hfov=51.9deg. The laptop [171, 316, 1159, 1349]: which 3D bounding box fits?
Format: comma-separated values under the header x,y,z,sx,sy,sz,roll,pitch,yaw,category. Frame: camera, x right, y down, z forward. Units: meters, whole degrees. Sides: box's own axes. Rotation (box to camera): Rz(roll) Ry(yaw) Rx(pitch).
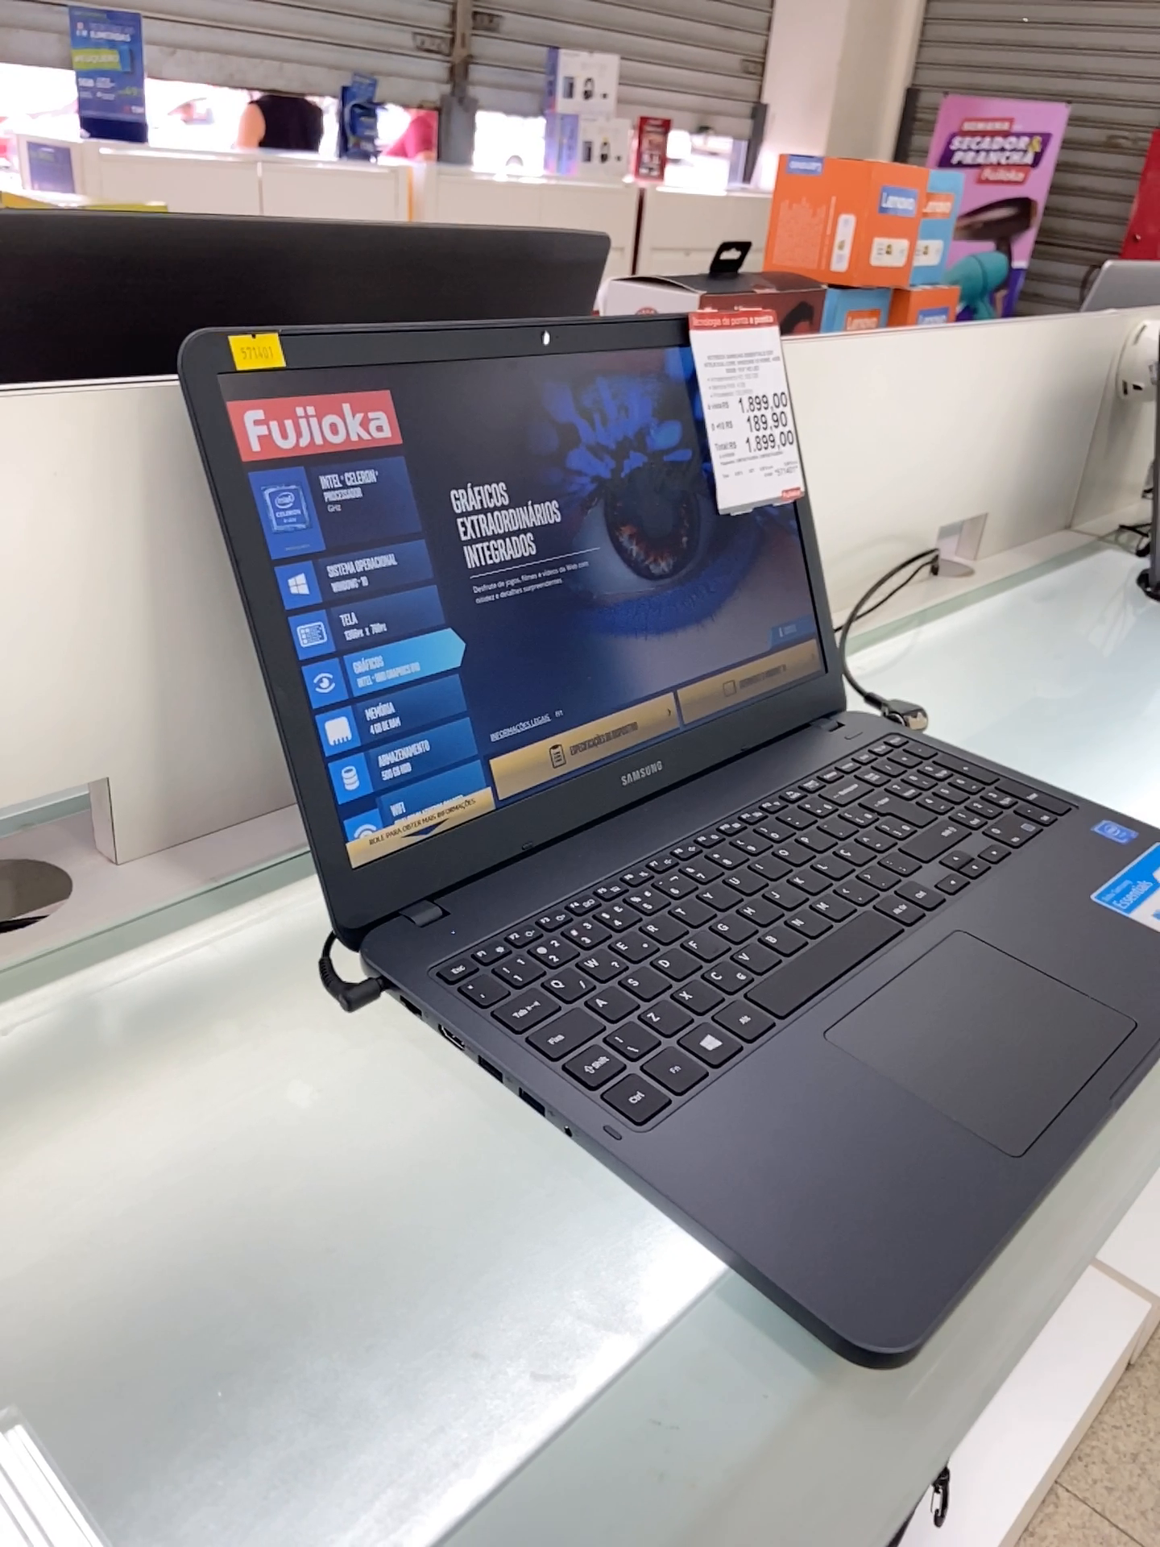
x,y,z,sx,sy,sz,roll,pitch,yaw,category
0.095,-0.052,0.500,0.347,0.207,0.368,28,34,36,laptop
